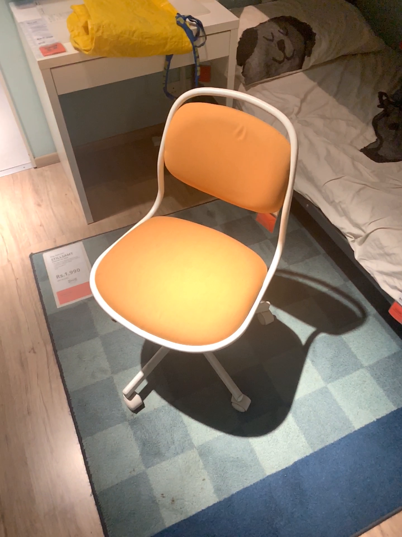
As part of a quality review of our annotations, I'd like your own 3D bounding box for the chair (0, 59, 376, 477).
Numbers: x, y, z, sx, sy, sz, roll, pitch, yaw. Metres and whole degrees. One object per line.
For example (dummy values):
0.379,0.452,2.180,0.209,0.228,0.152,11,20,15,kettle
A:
-0.058,0.006,1.110,0.611,0.708,0.651,29,58,20,chair
